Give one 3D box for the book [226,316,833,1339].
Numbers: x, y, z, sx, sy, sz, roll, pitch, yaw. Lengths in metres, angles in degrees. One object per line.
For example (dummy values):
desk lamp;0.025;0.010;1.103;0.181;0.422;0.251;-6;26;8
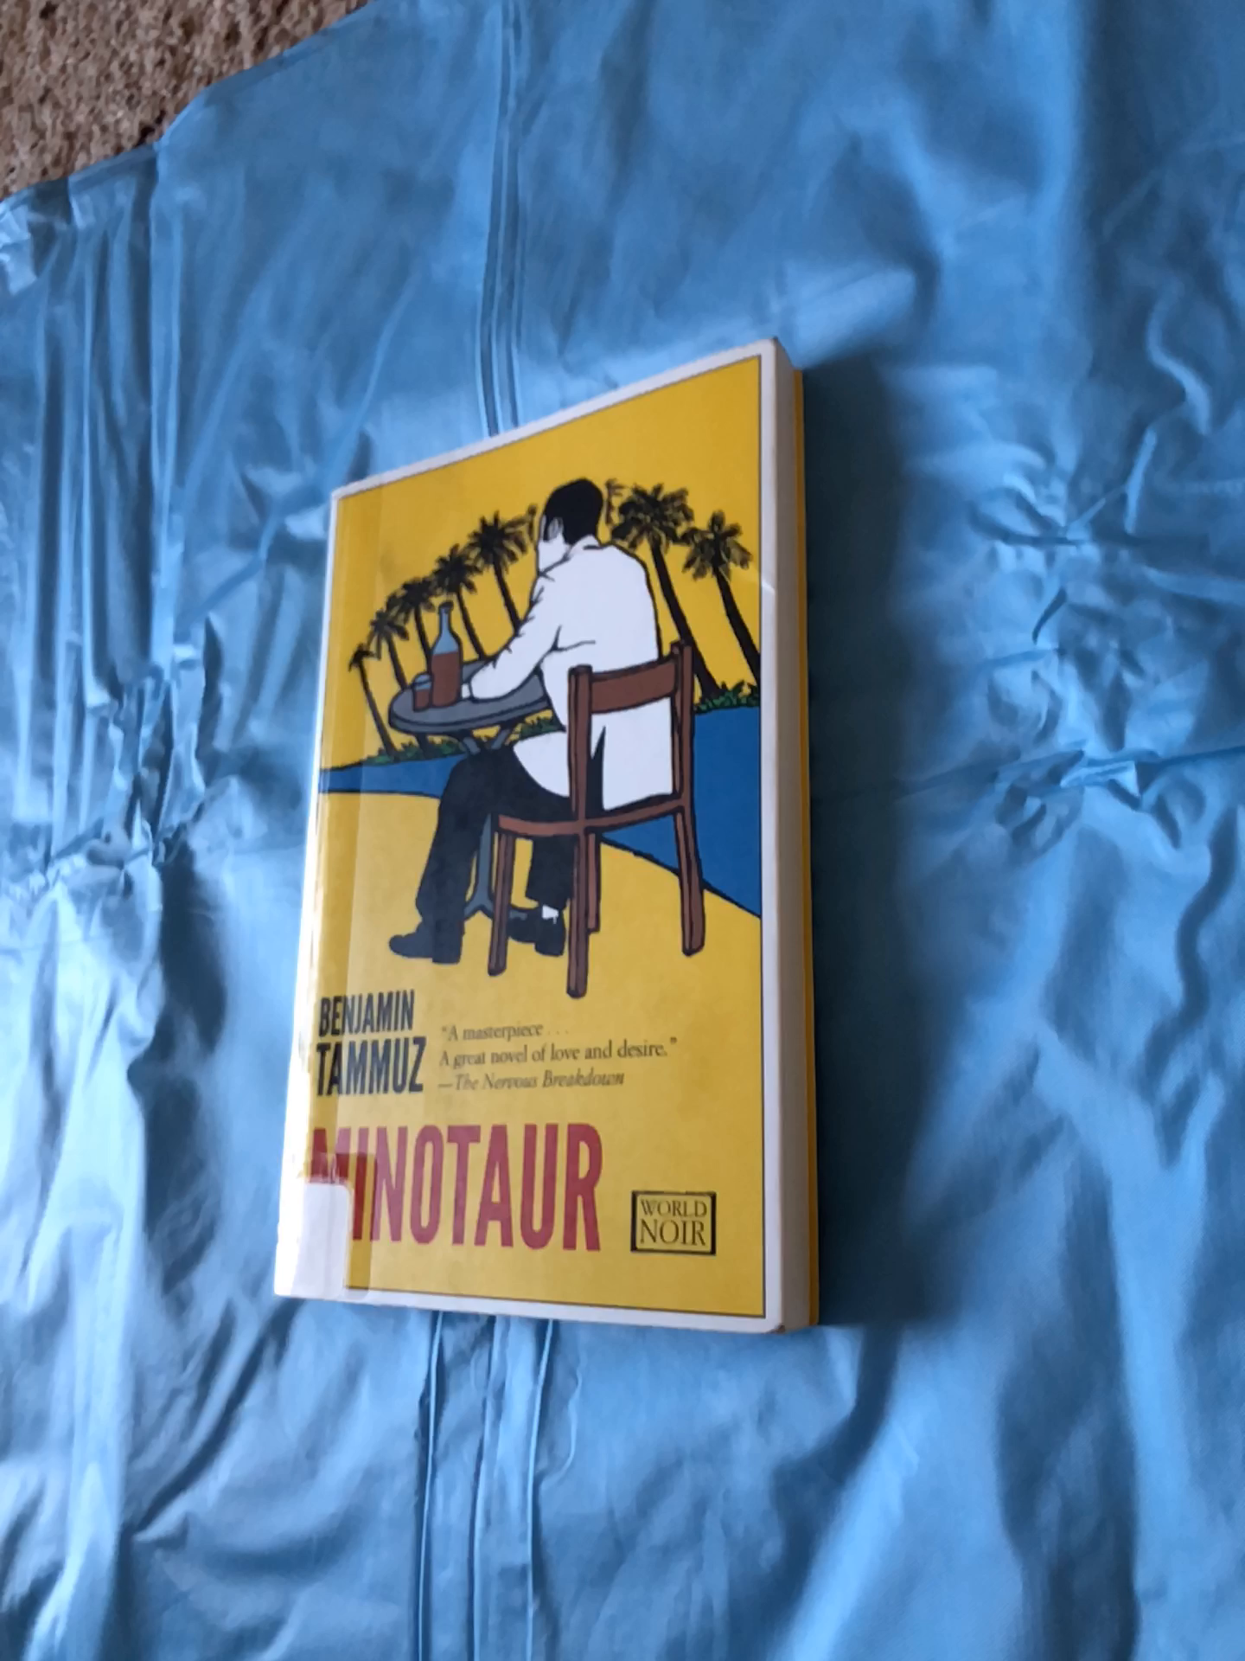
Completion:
book;-0.023;0.001;0.327;0.142;0.027;0.212;-8;72;32
